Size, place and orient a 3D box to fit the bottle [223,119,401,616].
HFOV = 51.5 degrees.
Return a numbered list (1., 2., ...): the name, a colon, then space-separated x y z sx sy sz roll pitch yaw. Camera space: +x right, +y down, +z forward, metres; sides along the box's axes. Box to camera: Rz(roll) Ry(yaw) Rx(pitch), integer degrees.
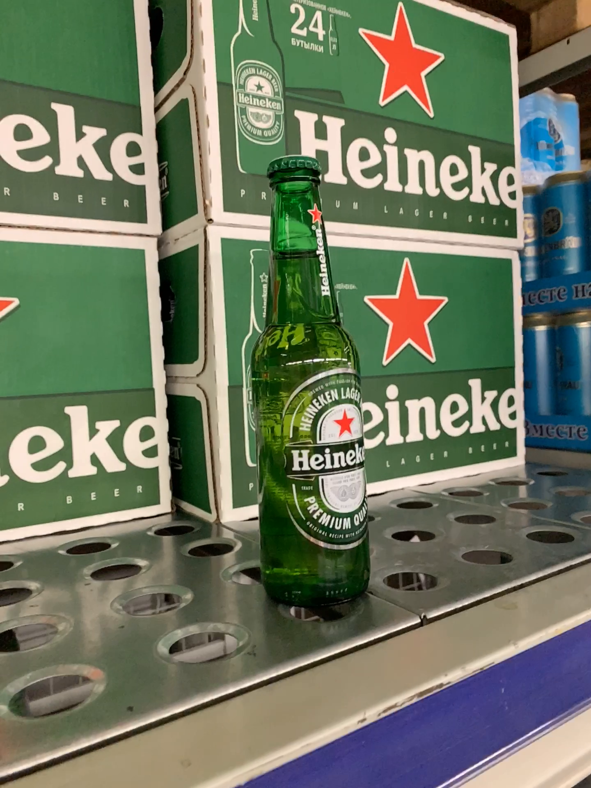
1. bottle: 0.008 -0.013 0.320 0.060 0.226 0.060 -2 2 0
